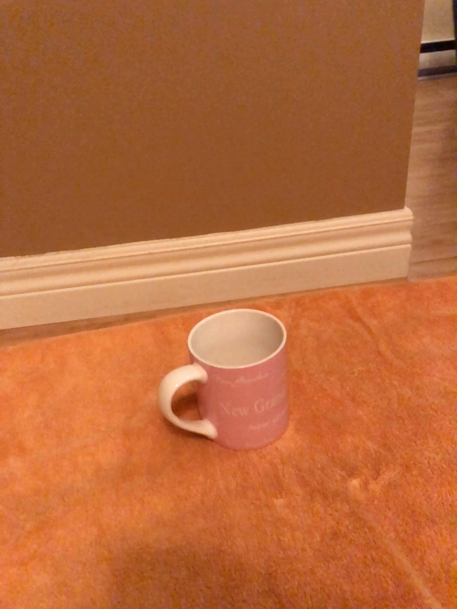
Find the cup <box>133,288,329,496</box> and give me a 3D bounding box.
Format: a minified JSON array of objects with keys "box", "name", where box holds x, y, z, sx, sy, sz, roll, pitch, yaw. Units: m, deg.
[{"box":[0.003,0.075,0.478,0.140,0.109,0.110,-19,33,-21],"name":"cup"}]
